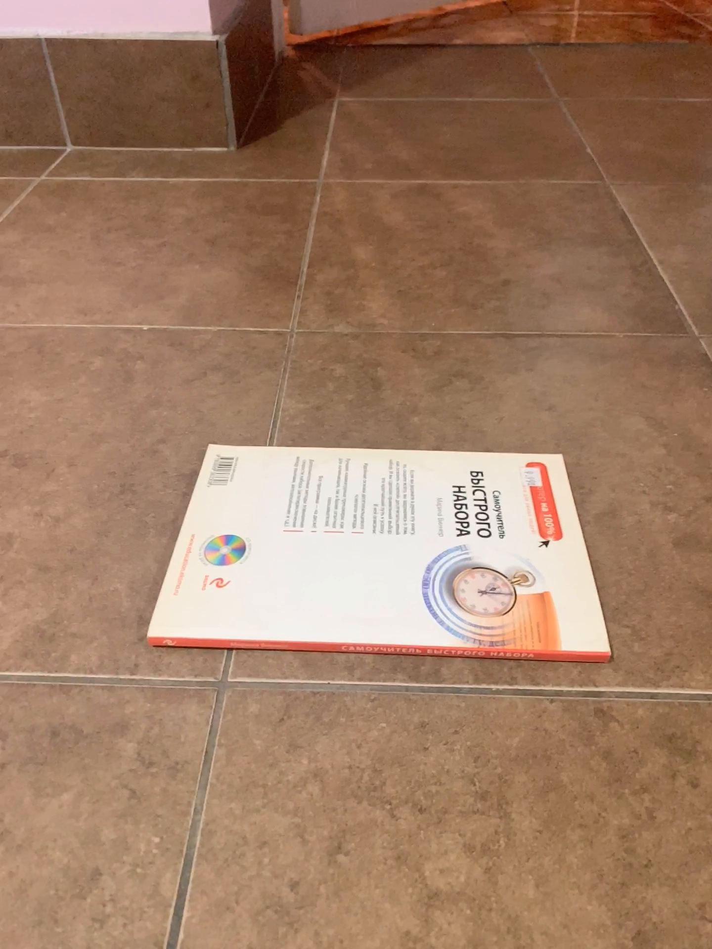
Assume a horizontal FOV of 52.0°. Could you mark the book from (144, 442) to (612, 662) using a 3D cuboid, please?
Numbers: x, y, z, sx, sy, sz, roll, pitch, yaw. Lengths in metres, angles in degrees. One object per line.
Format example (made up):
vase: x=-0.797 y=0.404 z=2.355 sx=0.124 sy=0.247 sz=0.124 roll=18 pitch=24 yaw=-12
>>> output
book: x=0.012 y=0.033 z=0.380 sx=0.210 sy=0.009 sz=0.135 roll=2 pitch=42 yaw=3
